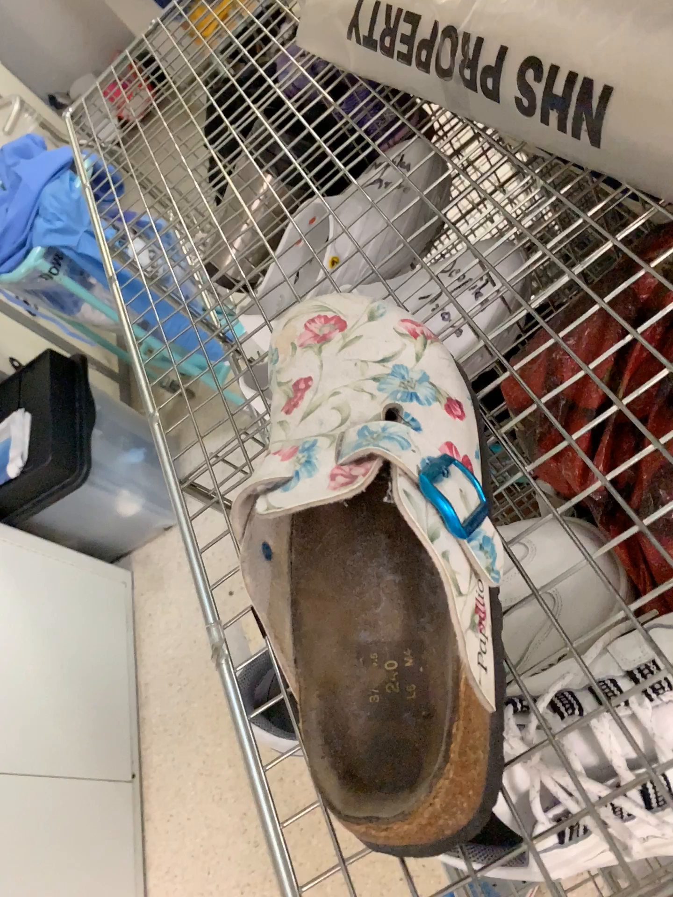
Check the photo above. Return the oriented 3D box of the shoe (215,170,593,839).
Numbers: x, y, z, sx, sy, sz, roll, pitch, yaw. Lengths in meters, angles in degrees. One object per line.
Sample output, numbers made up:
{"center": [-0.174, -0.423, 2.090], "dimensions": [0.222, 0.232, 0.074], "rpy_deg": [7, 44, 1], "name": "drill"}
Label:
{"center": [0.011, 0.012, 0.296], "dimensions": [0.100, 0.069, 0.260], "rpy_deg": [-23, 54, 24], "name": "shoe"}
